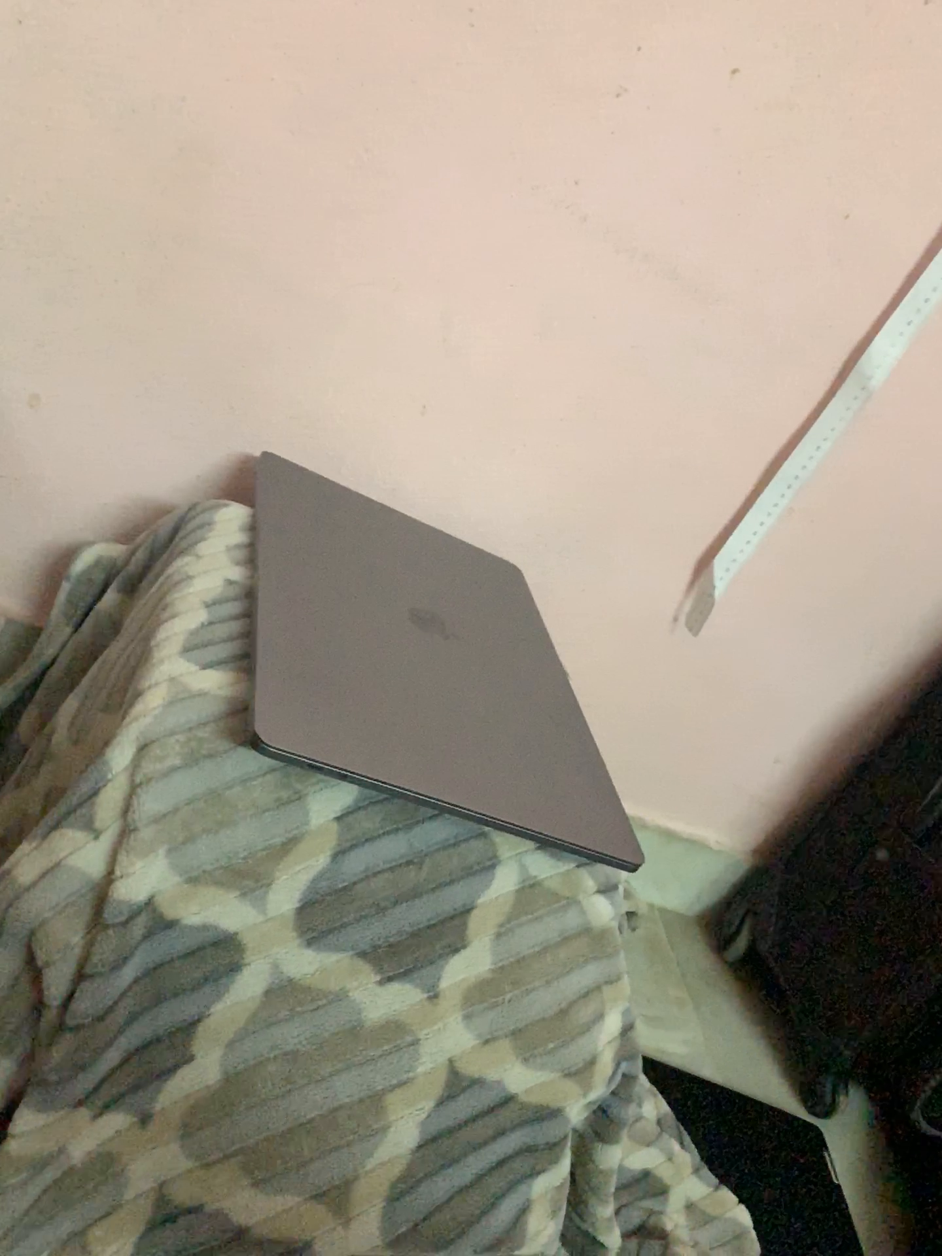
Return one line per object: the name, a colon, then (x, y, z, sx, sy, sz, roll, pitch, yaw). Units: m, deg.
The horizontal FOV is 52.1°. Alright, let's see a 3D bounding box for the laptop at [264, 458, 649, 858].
laptop: (-0.026, 0.001, 0.632, 0.228, 0.002, 0.327, 21, 26, -23)
